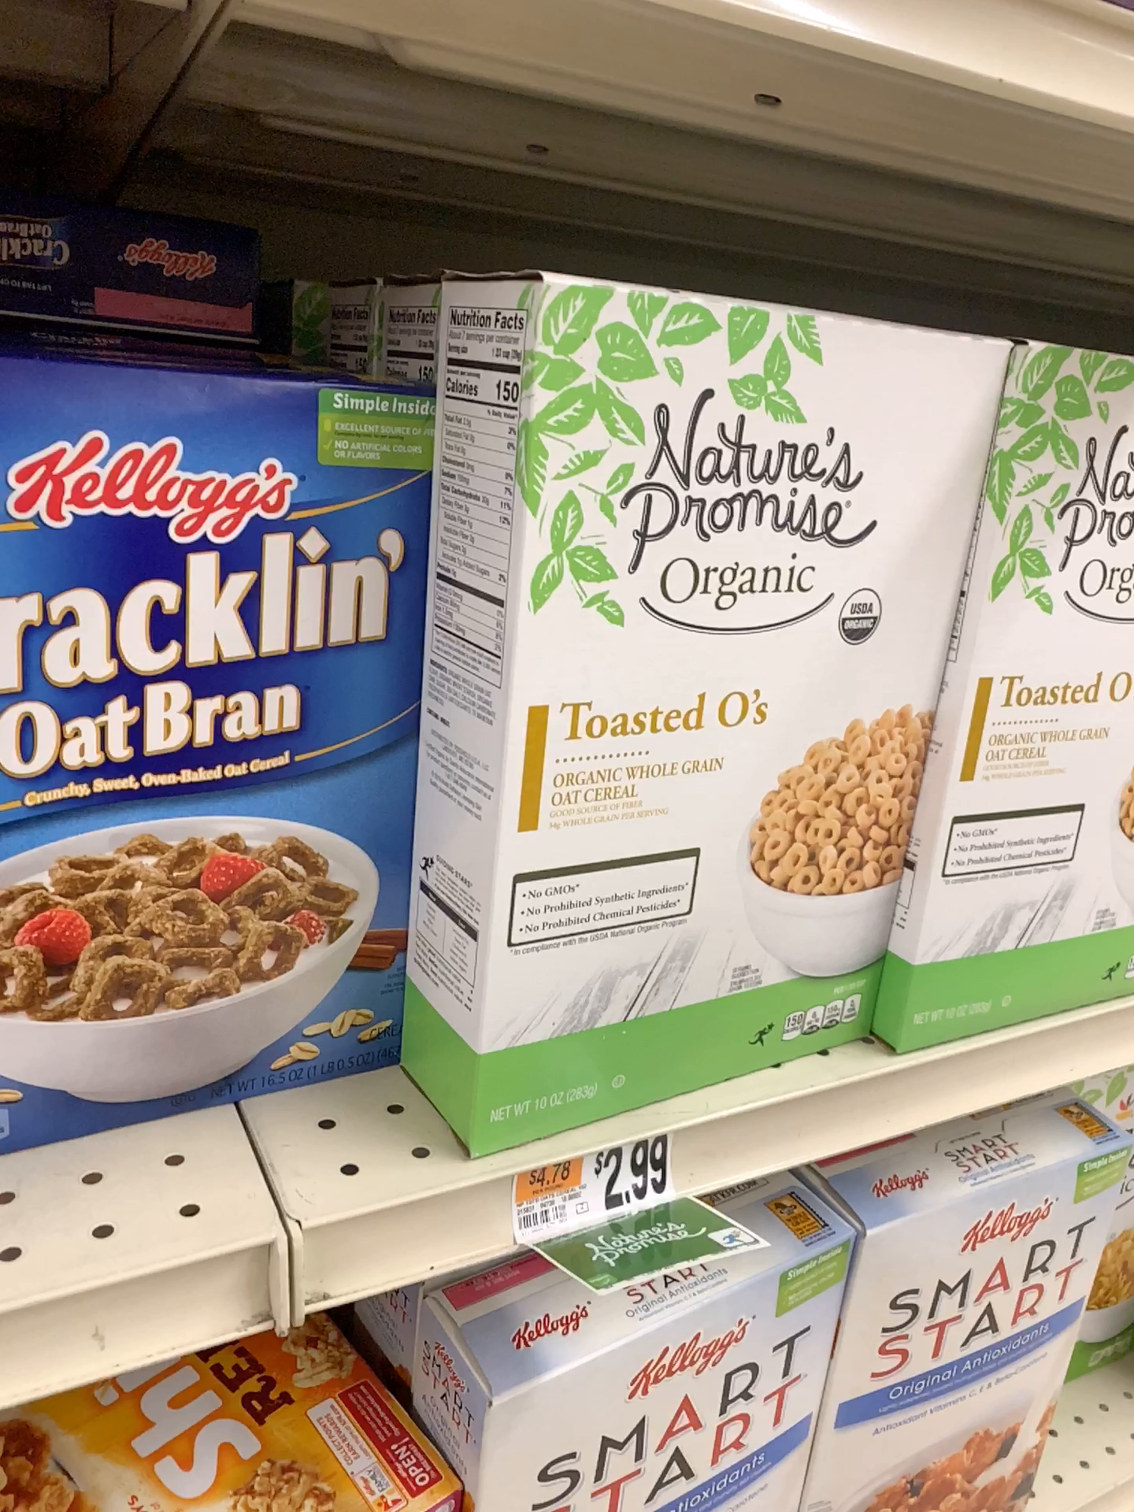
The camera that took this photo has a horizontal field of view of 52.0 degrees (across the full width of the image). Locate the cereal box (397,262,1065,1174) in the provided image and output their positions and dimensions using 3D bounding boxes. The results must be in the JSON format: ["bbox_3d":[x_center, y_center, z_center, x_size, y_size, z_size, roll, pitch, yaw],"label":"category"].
[{"bbox_3d":[0.050,-0.014,0.403,0.190,0.269,0.070,-6,23,-31],"label":"cereal box"}]
